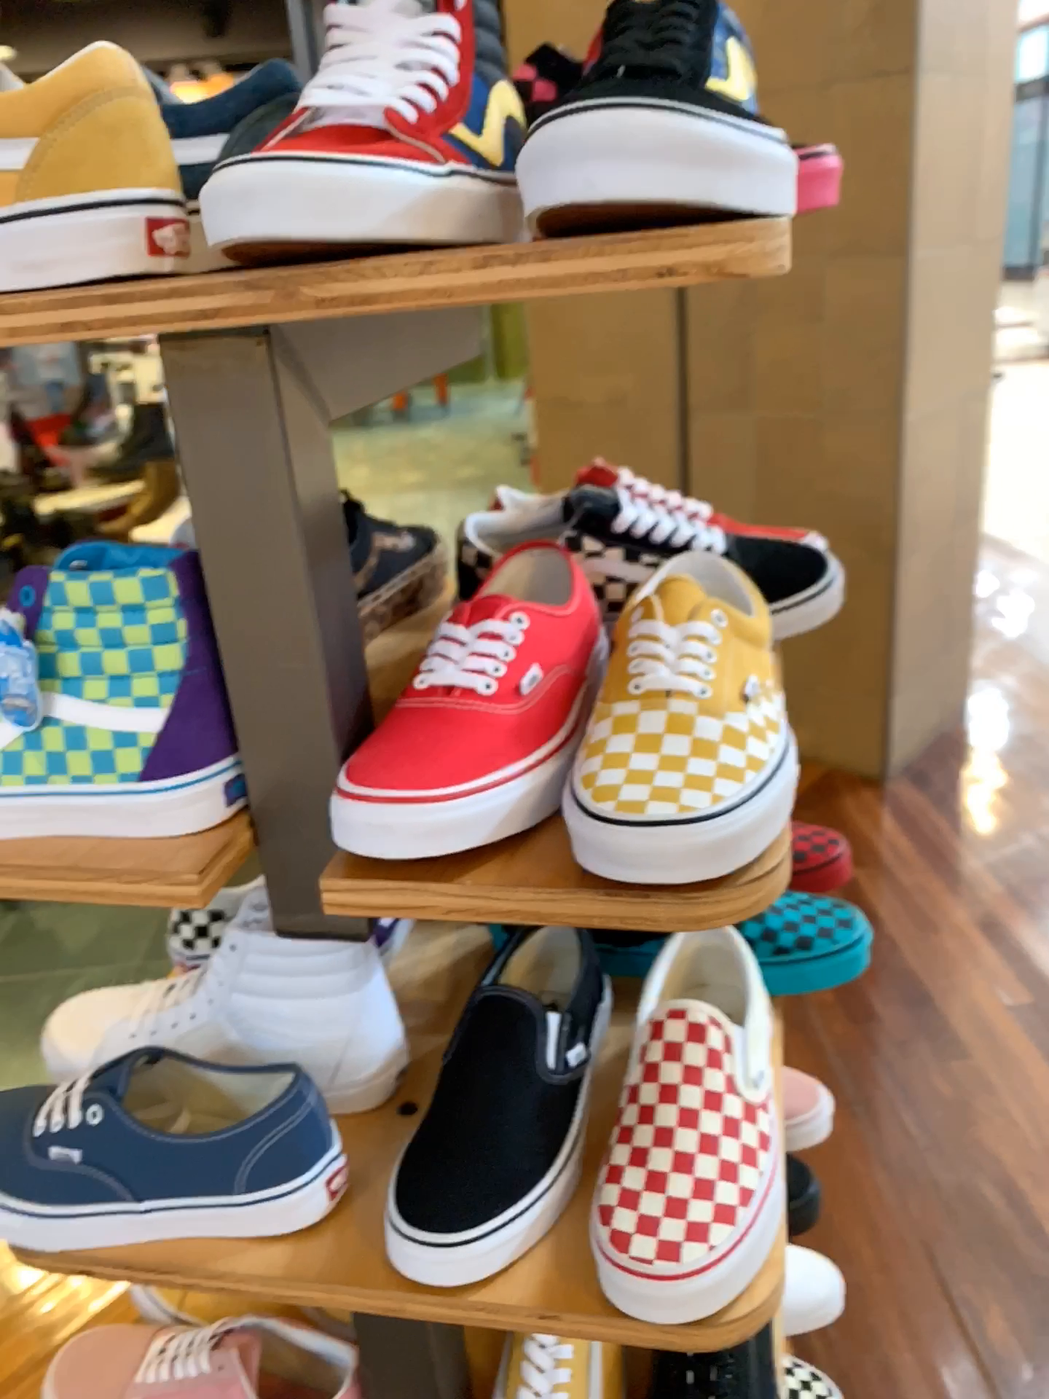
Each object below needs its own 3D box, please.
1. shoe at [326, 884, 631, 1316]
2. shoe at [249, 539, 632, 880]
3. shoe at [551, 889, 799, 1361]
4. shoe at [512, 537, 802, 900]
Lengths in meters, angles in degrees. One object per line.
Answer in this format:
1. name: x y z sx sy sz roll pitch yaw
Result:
1. shoe: -0.011 0.214 0.648 0.105 0.067 0.269 1 23 15
2. shoe: -0.022 -0.013 0.551 0.109 0.067 0.269 1 23 15
3. shoe: 0.096 0.210 0.605 0.103 0.067 0.269 1 23 15
4. shoe: 0.077 -0.010 0.521 0.103 0.067 0.269 1 23 13
